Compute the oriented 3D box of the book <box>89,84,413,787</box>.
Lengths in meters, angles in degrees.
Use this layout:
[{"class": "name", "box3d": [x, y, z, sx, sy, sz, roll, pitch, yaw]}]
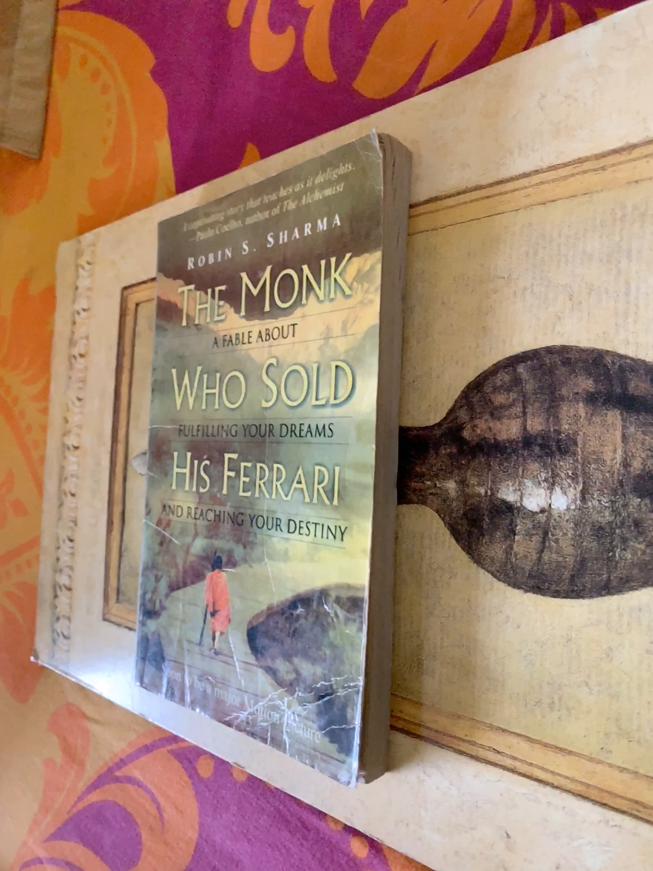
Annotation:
[{"class": "book", "box3d": [-0.034, -0.001, 0.248, 0.131, 0.030, 0.200, -1, 86, 42]}]
